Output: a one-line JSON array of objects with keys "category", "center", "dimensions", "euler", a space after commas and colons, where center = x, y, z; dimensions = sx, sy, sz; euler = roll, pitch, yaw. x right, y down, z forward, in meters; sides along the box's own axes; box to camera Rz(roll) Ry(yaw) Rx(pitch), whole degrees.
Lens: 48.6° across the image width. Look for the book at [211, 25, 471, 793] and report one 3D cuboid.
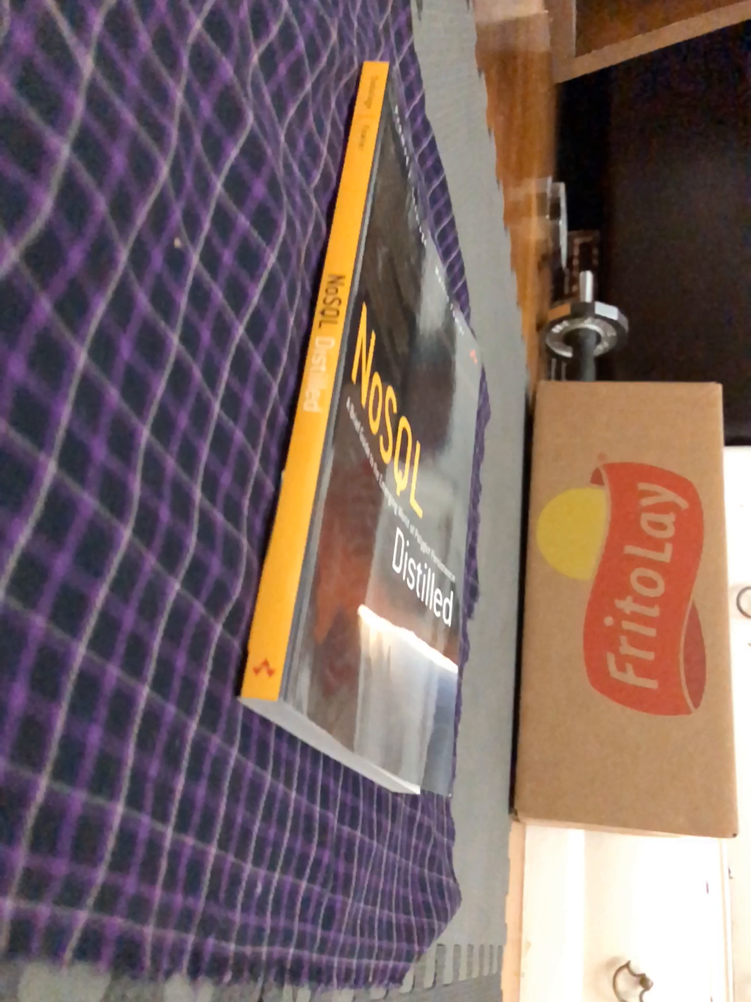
[{"category": "book", "center": [0.007, -0.024, 0.343], "dimensions": [0.190, 0.020, 0.250], "euler": [59, 34, -59]}]
